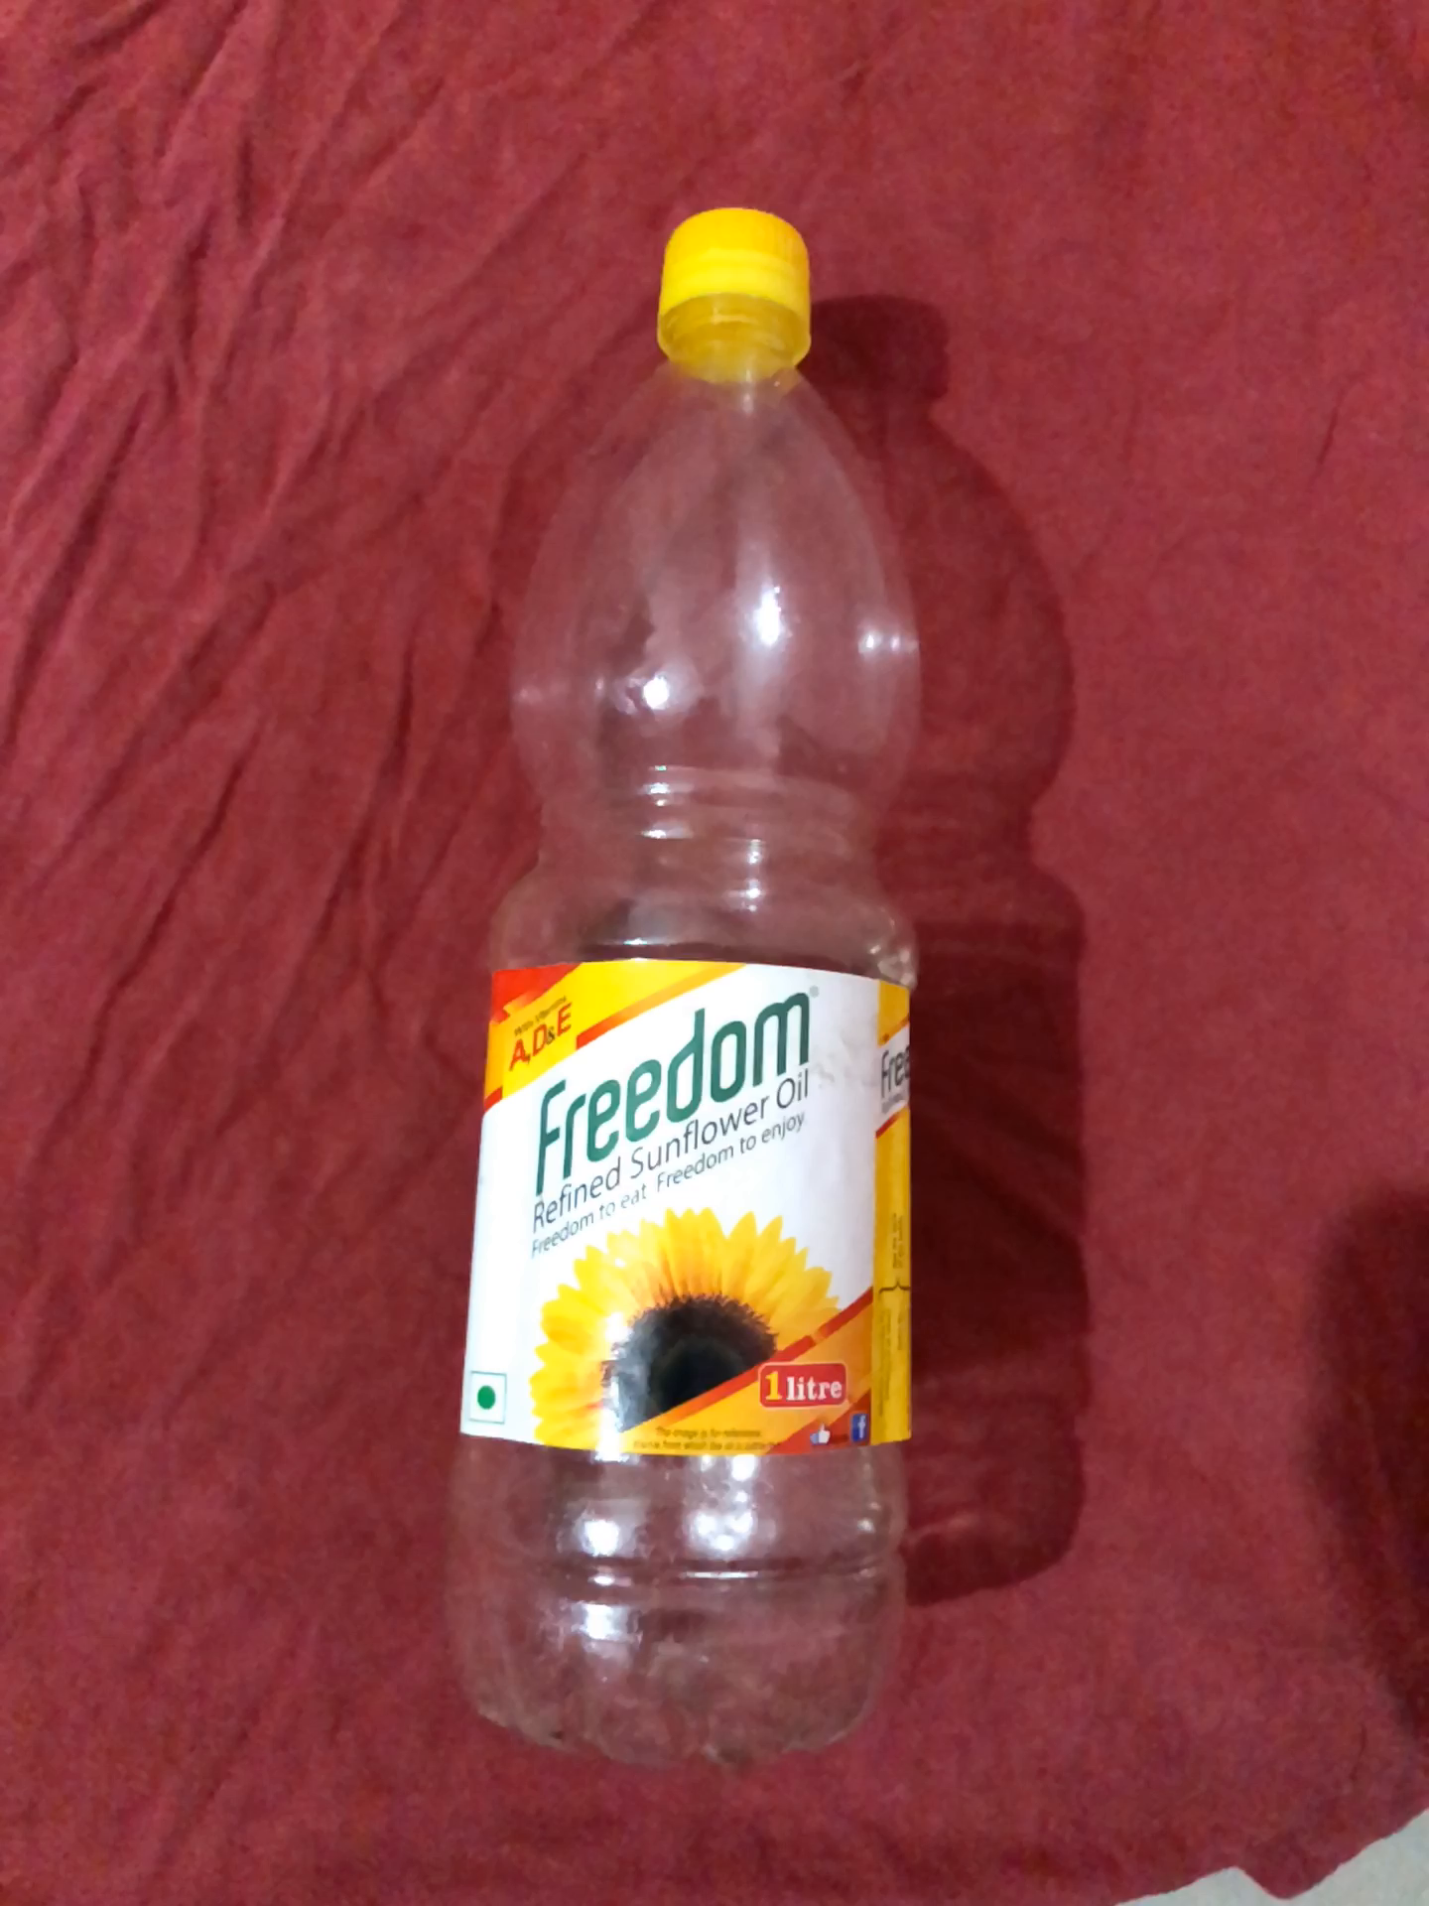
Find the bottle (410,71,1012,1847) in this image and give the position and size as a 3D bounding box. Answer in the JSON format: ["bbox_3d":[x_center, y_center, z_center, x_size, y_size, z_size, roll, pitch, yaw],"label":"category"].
[{"bbox_3d":[-0.001,-0.002,0.277,0.080,0.060,0.270,5,83,-11],"label":"bottle"}]
